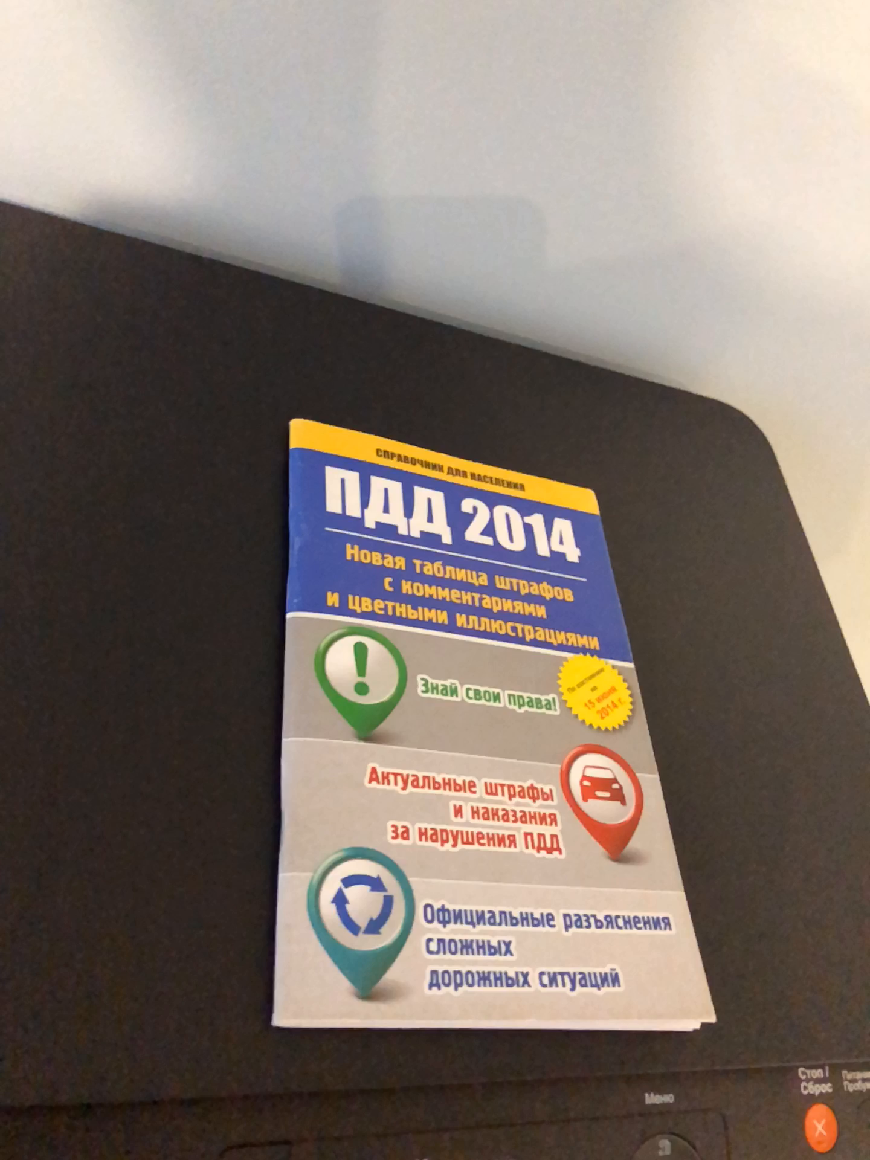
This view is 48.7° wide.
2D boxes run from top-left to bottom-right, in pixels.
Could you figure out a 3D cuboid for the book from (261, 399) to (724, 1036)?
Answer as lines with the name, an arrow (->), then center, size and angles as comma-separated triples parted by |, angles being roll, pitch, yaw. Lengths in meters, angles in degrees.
book -> 0.013, 0.034, 0.306 | 0.130, 0.010, 0.201 | 11, 53, -22
